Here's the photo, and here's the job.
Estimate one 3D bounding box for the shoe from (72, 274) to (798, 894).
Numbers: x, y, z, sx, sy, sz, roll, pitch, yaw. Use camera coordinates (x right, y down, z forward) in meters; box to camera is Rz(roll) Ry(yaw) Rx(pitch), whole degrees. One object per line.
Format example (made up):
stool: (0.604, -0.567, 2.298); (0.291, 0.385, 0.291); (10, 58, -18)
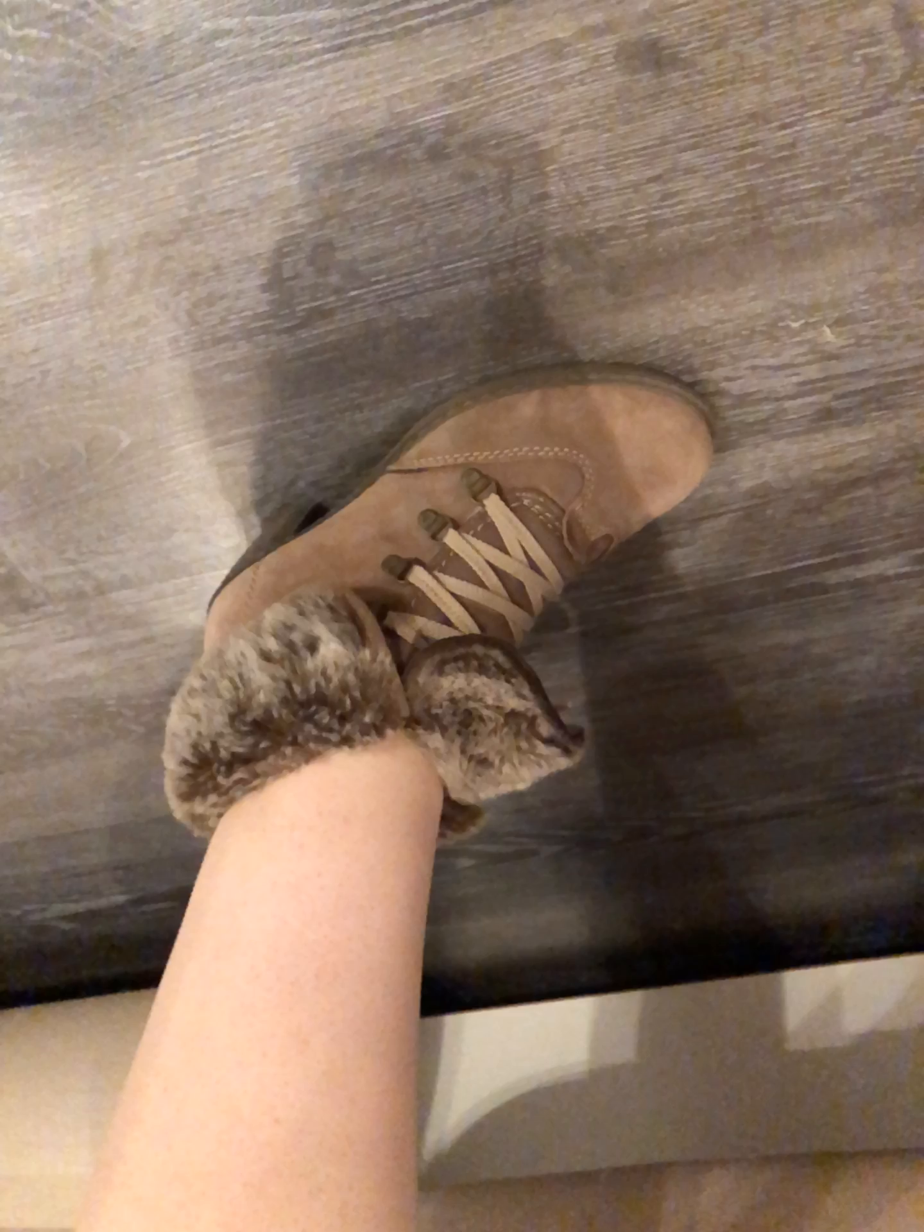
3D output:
shoe: (-0.012, -0.004, 0.441); (0.250, 0.149, 0.120); (-21, 131, 22)
